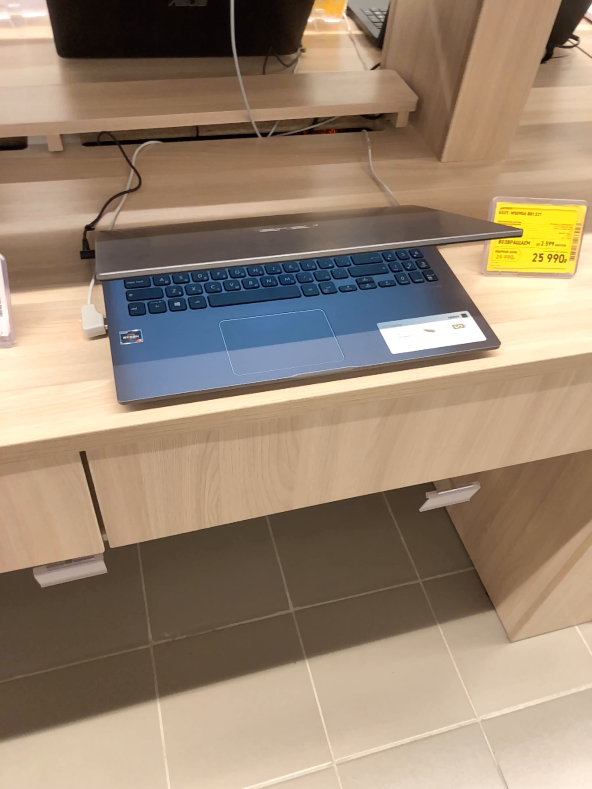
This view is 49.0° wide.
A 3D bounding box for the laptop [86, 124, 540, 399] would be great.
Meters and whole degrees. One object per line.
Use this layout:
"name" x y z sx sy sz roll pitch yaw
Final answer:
"laptop" -0.002 -0.142 0.615 0.349 0.111 0.233 -9 49 -13
